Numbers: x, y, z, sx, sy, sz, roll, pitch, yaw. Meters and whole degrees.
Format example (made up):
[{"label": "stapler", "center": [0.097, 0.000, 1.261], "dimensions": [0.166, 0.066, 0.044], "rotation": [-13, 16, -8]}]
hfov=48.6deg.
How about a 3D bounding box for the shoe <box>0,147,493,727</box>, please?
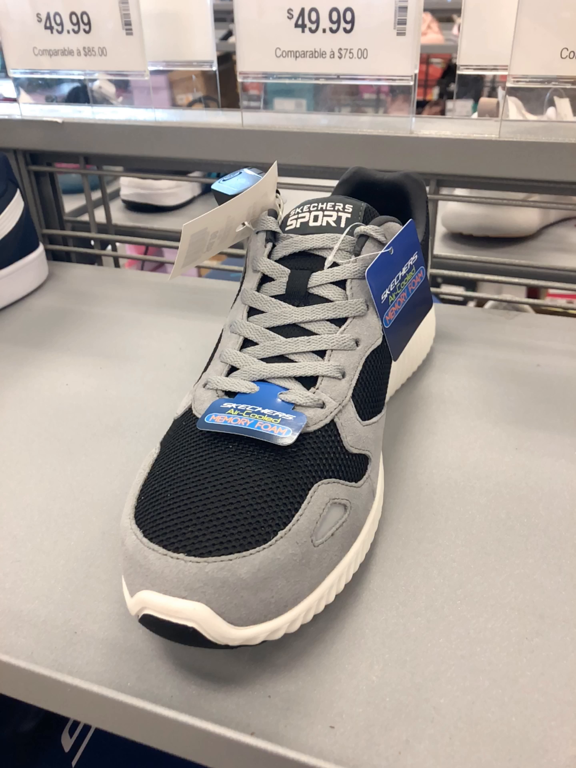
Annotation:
[{"label": "shoe", "center": [0.011, -0.021, 0.324], "dimensions": [0.120, 0.119, 0.302], "rotation": [12, 35, 20]}]
